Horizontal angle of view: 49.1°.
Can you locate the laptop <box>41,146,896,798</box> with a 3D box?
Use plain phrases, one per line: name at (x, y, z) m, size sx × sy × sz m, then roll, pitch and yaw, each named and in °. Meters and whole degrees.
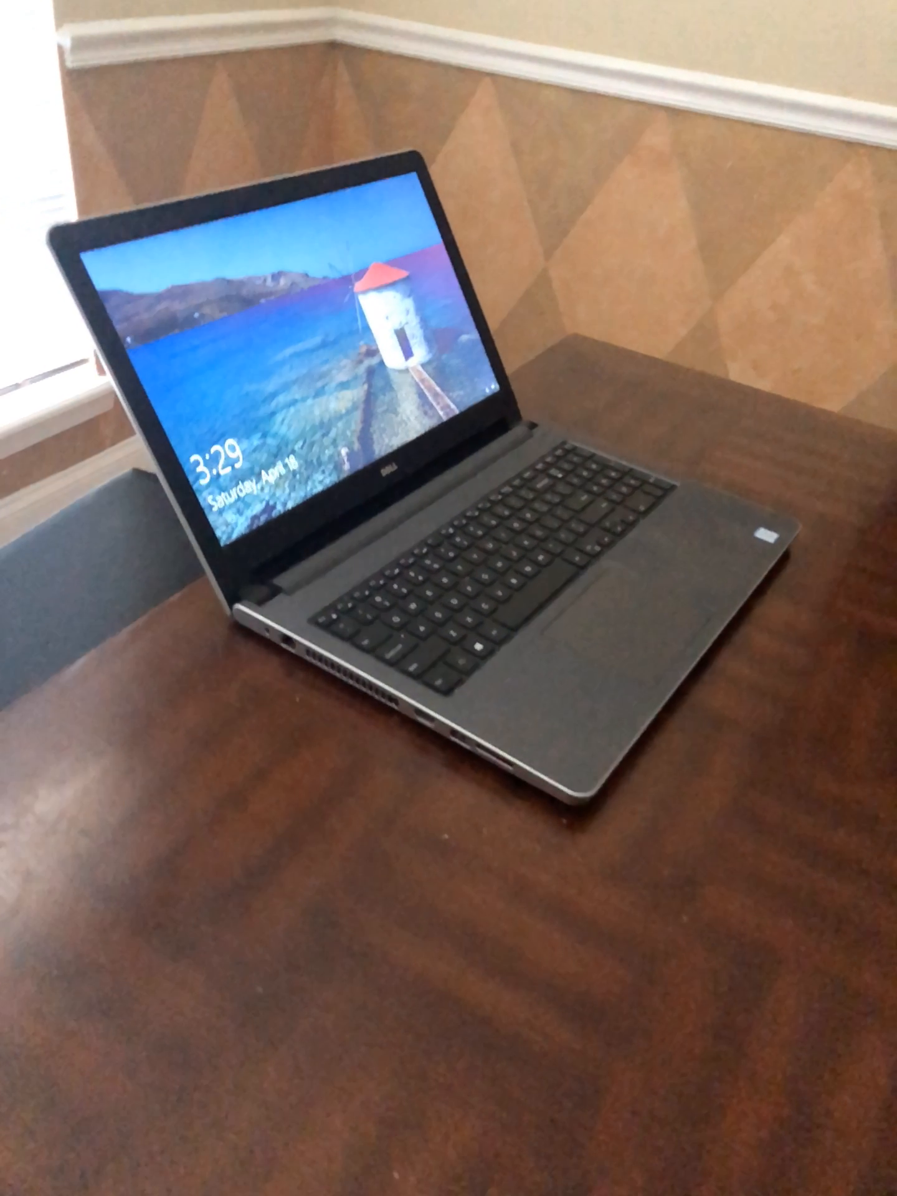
laptop at (0.026, -0.135, 0.664) m, size 0.392 × 0.198 × 0.368 m, roll 26°, pitch 39°, yaw 23°
